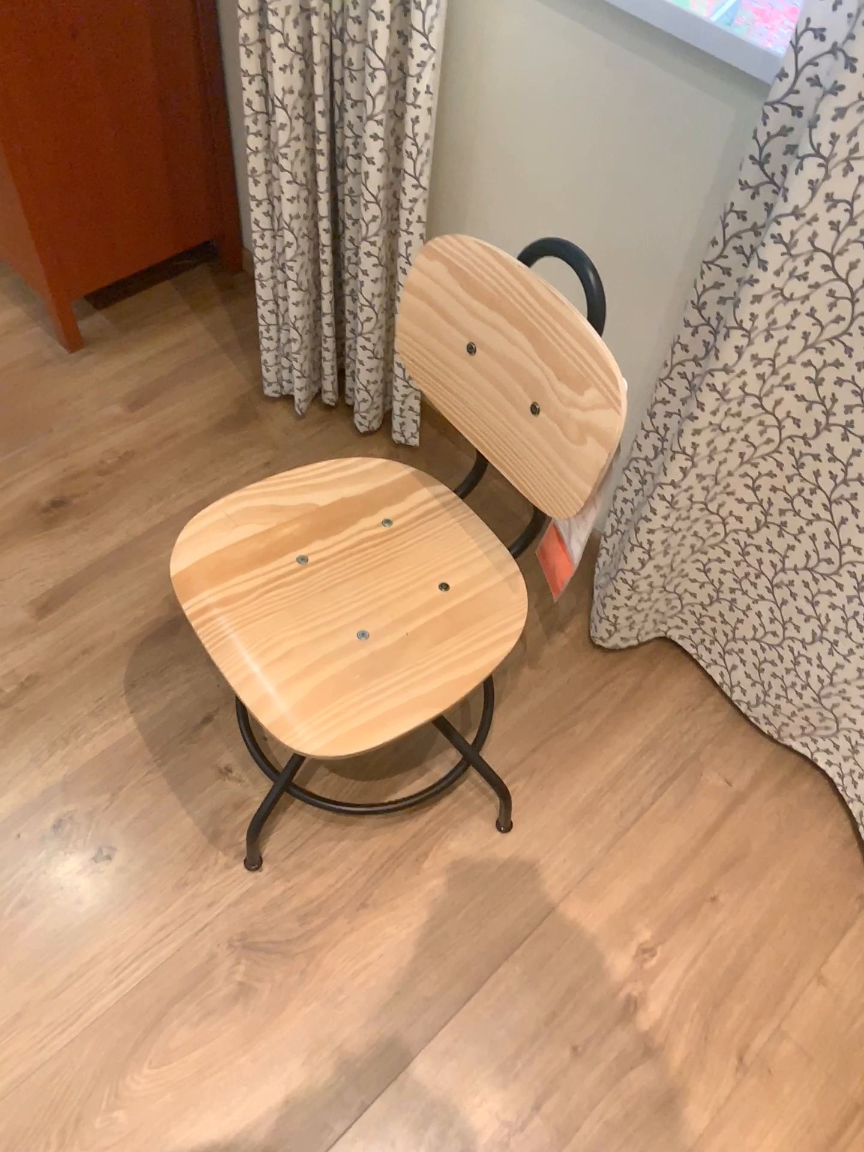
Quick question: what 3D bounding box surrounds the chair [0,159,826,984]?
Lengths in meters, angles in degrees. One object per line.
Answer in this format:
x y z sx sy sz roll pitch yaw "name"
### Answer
-0.062 0.000 1.026 0.631 0.598 0.491 -29 62 -23 "chair"
